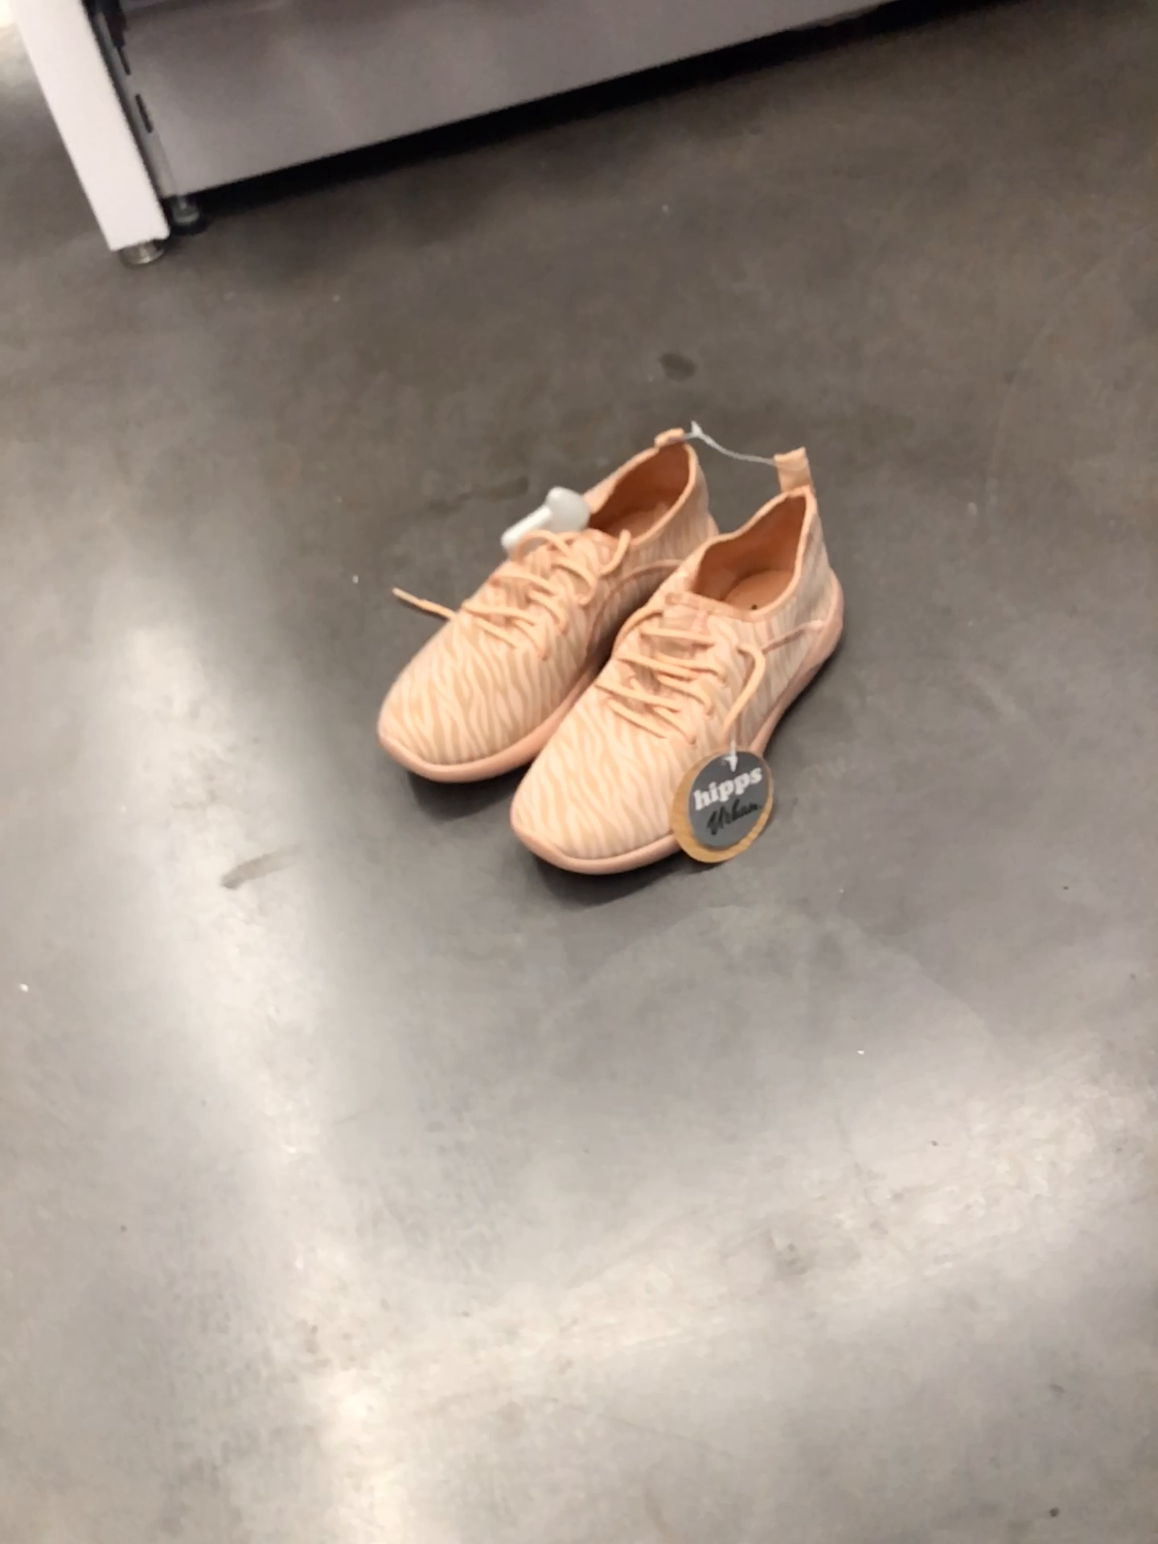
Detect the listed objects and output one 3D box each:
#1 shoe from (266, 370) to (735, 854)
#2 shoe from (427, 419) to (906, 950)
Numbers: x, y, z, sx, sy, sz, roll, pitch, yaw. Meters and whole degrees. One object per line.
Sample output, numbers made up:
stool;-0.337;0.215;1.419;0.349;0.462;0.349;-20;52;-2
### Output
shoe;-0.031;-0.087;0.668;0.100;0.100;0.231;35;66;23
shoe;0.048;-0.047;0.621;0.100;0.100;0.231;32;65;22
